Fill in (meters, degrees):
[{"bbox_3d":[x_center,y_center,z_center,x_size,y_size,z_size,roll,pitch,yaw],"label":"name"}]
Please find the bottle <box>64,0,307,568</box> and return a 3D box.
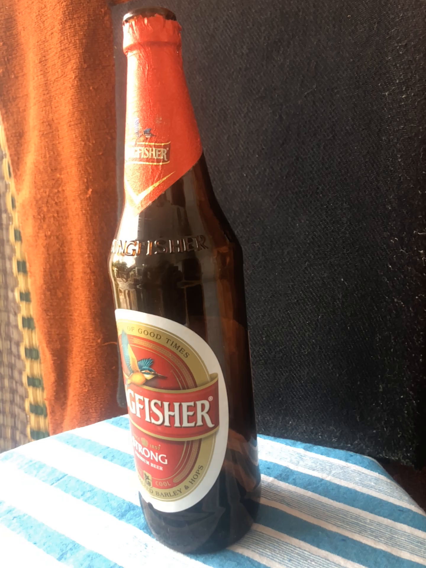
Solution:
[{"bbox_3d":[-0.006,0.000,0.254,0.080,0.289,0.070,8,18,39],"label":"bottle"}]
